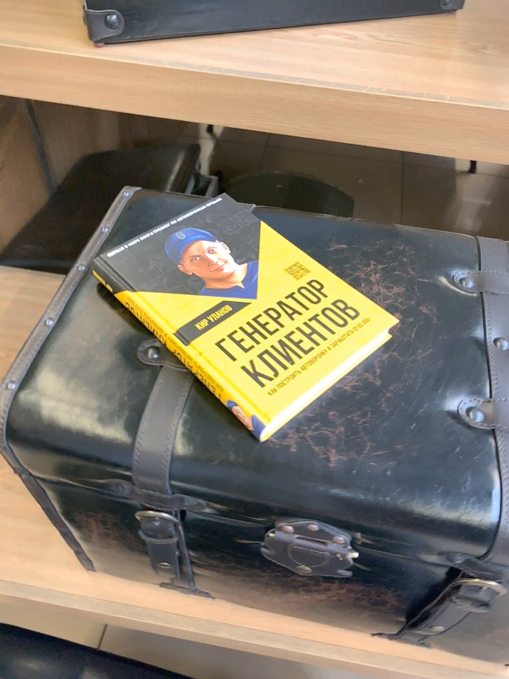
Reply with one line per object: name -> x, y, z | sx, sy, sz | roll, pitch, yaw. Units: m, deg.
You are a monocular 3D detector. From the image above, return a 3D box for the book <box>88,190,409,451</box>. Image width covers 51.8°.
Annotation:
book -> -0.012, -0.038, 0.478 | 0.167, 0.030, 0.242 | -34, 59, -26
